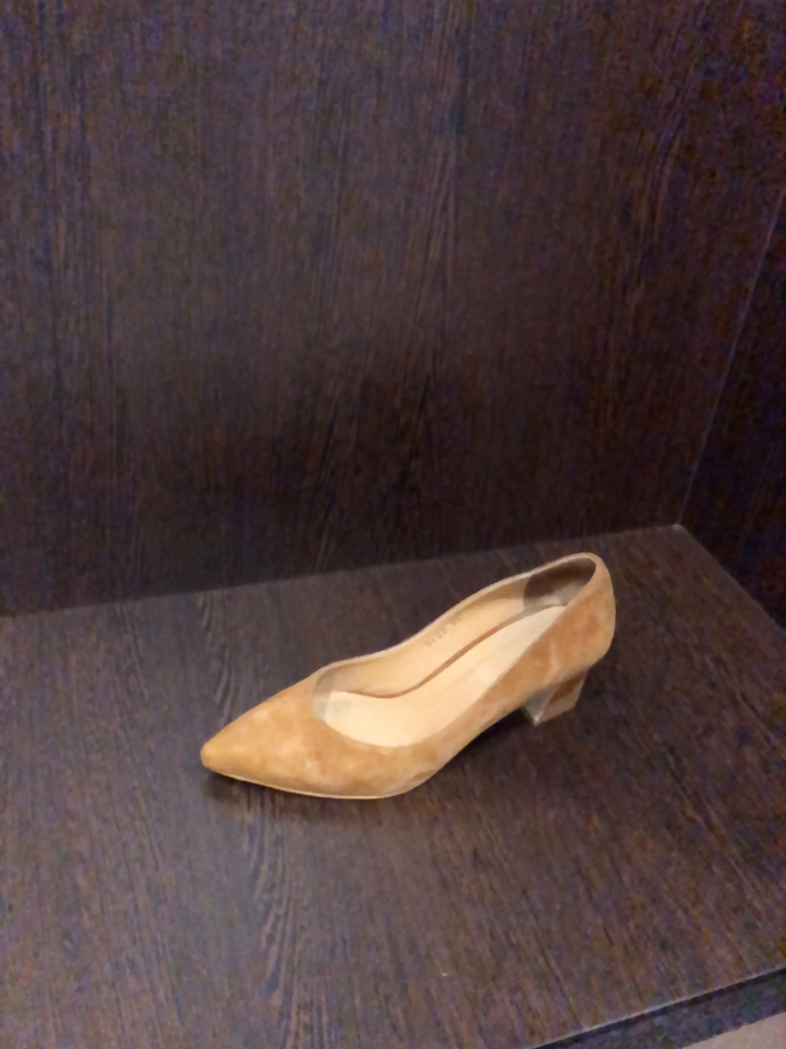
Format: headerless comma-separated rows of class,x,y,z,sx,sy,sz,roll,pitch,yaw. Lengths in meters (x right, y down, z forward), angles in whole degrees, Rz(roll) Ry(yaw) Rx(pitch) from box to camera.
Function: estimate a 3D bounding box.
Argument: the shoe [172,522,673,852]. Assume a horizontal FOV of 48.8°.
shoe,0.017,0.087,0.516,0.270,0.100,0.090,-10,37,-21
